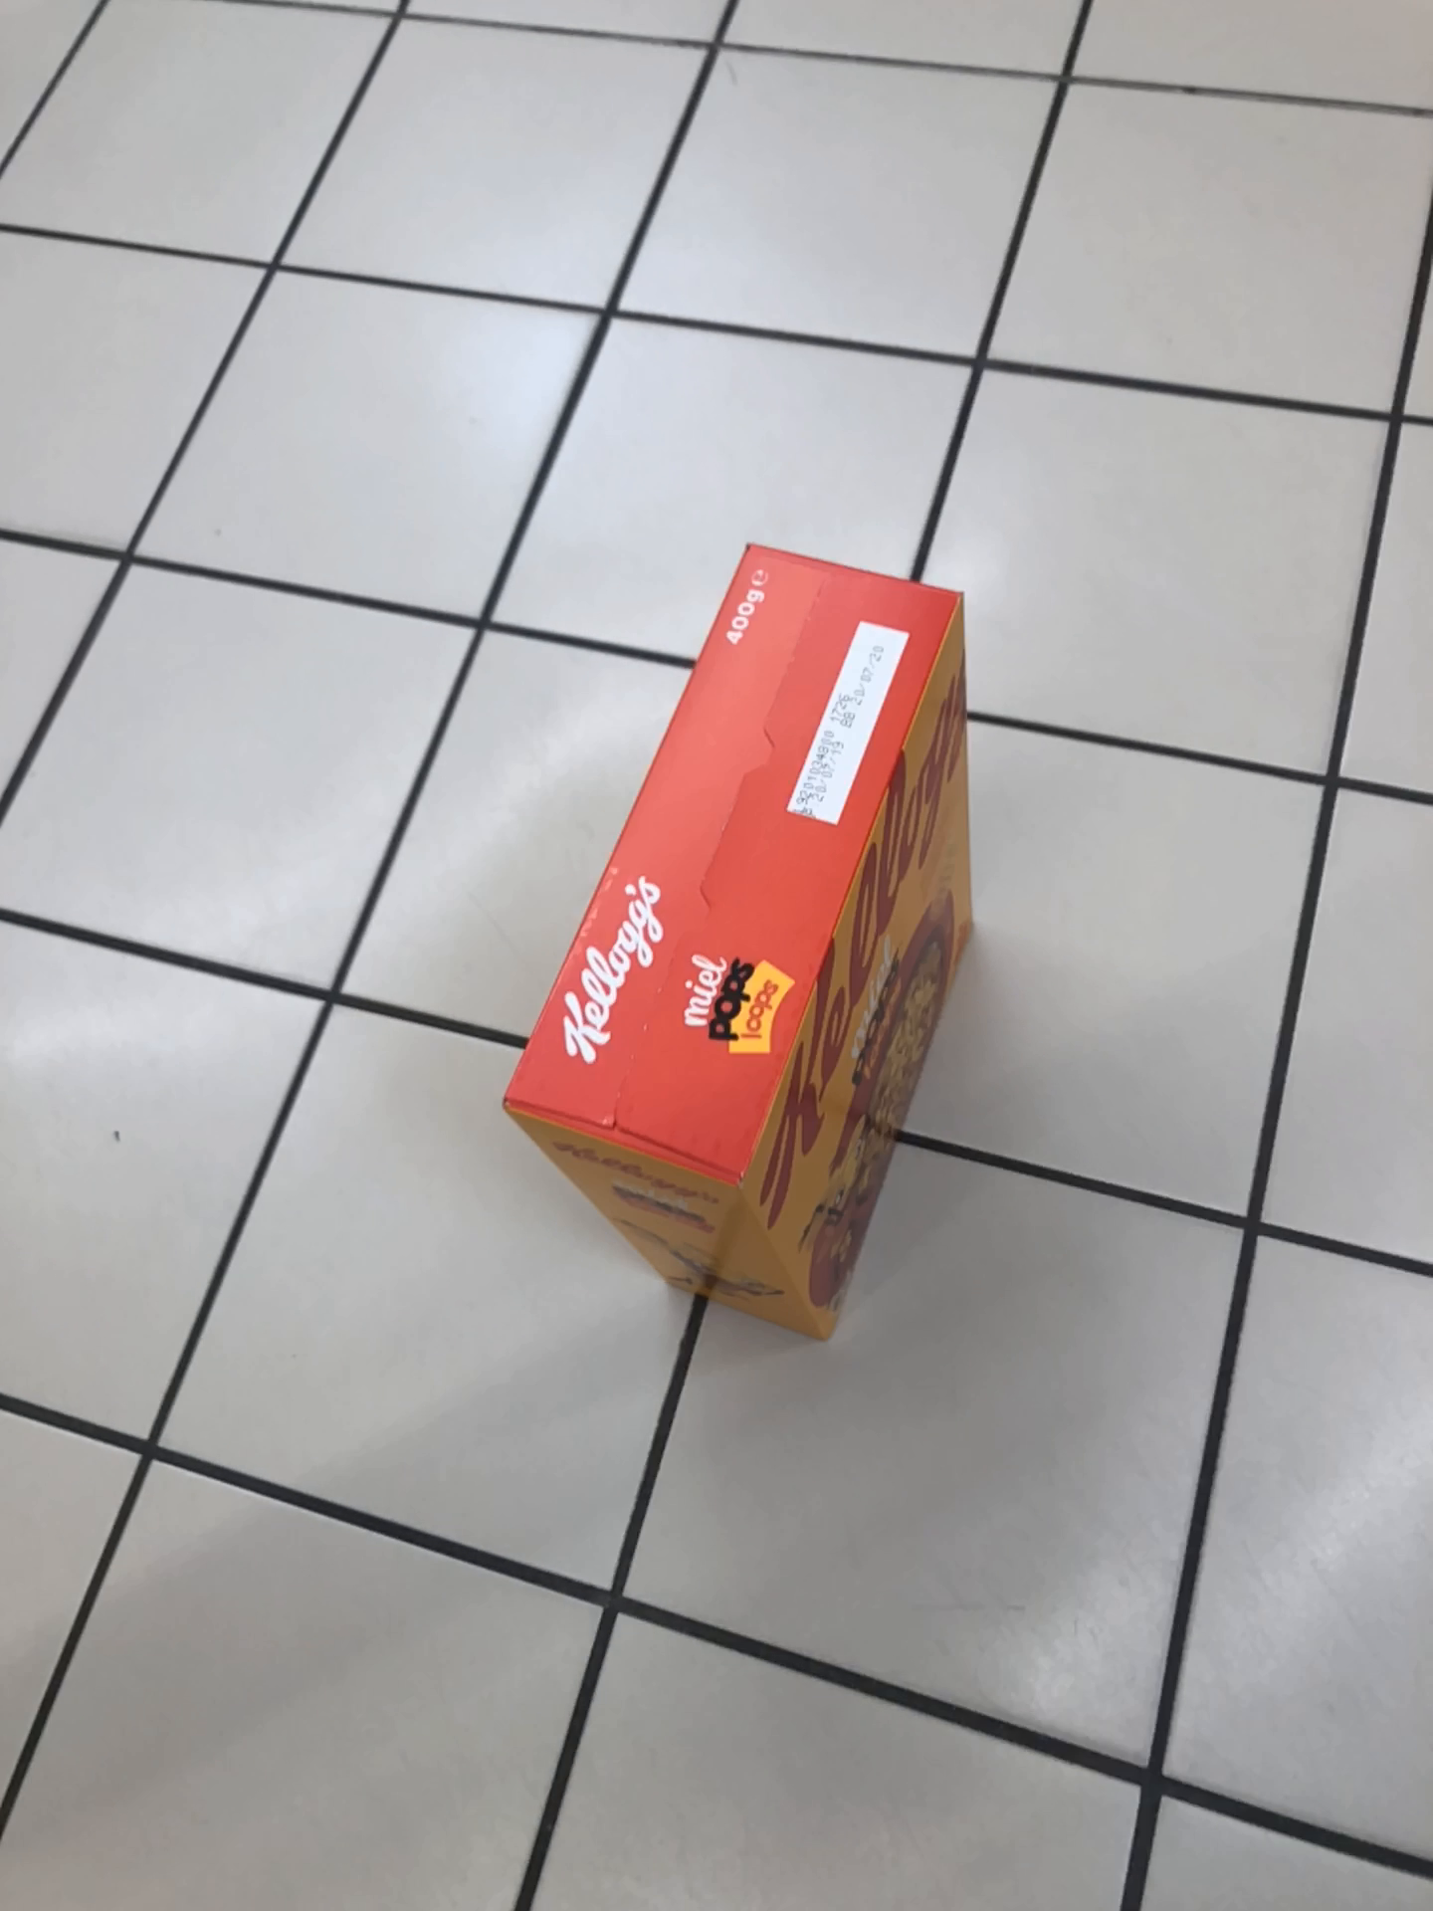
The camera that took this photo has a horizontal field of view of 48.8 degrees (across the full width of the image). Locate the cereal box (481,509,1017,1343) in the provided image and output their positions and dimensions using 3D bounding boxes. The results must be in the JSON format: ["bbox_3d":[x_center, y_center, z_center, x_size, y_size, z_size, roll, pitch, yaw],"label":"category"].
[{"bbox_3d":[0.028,0.008,0.544,0.090,0.240,0.190,16,70,14],"label":"cereal box"}]
